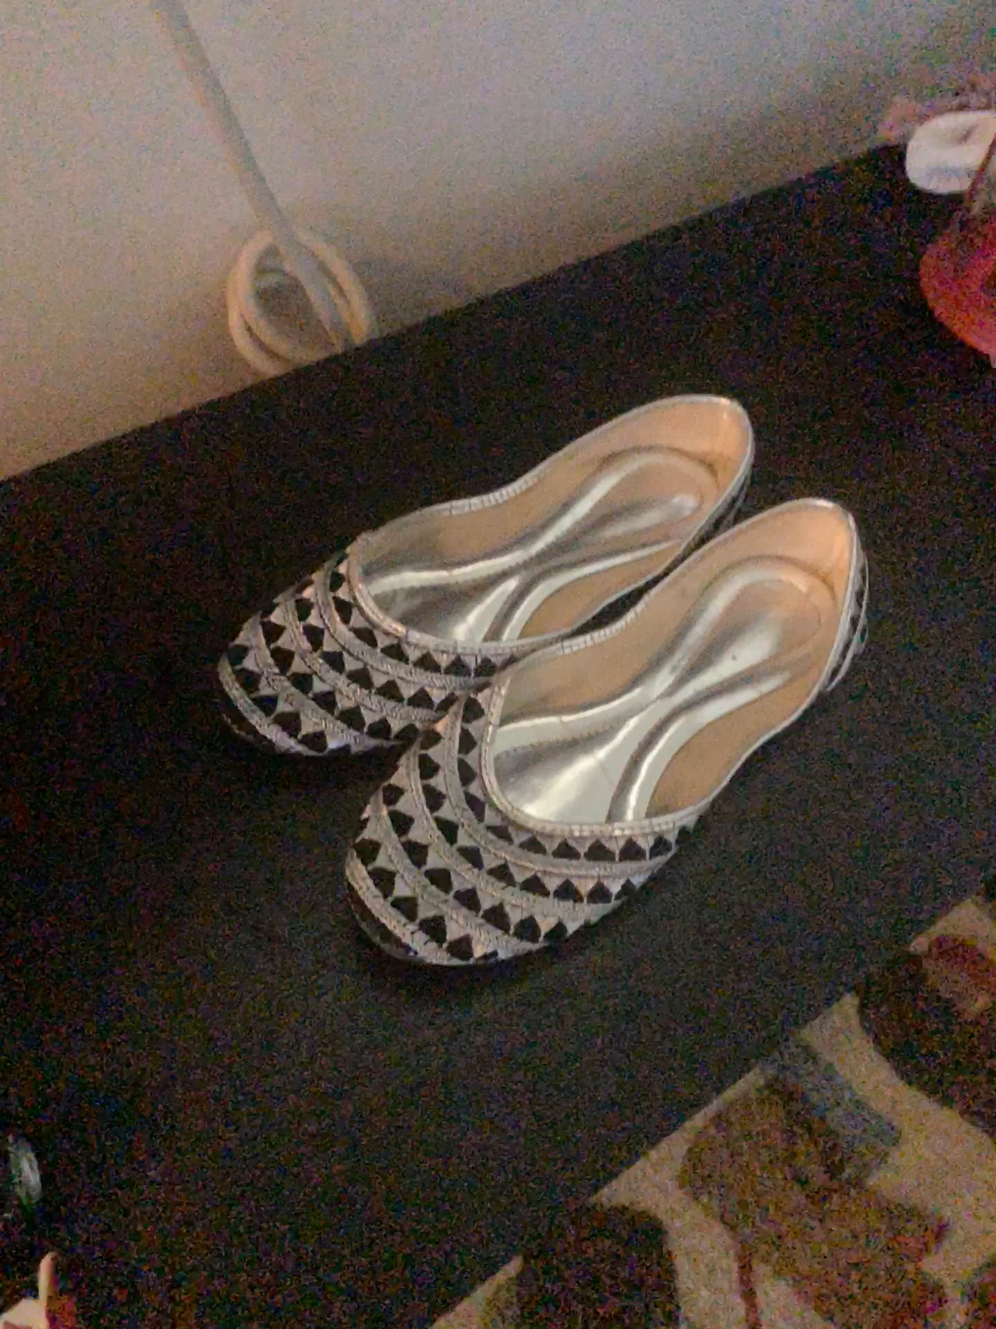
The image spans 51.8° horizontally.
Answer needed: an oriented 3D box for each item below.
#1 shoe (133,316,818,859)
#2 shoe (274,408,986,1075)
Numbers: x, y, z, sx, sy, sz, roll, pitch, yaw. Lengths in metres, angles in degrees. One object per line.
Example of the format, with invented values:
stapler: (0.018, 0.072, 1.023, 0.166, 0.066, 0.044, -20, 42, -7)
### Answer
shoe: (-0.001, -0.044, 0.447, 0.271, 0.079, 0.100, -31, 65, -23)
shoe: (0.056, 0.017, 0.392, 0.261, 0.079, 0.100, -36, 67, -25)
